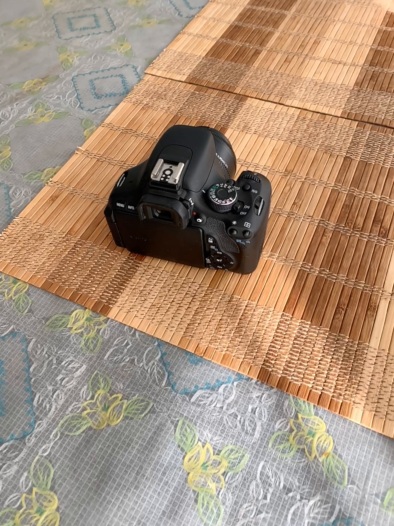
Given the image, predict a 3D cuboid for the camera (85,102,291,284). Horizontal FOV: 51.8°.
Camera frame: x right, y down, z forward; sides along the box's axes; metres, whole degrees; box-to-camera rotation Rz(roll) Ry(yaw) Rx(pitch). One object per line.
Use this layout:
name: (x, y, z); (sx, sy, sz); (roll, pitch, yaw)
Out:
camera: (-0.001, -0.062, 0.348); (0.133, 0.080, 0.106); (13, 58, 13)
